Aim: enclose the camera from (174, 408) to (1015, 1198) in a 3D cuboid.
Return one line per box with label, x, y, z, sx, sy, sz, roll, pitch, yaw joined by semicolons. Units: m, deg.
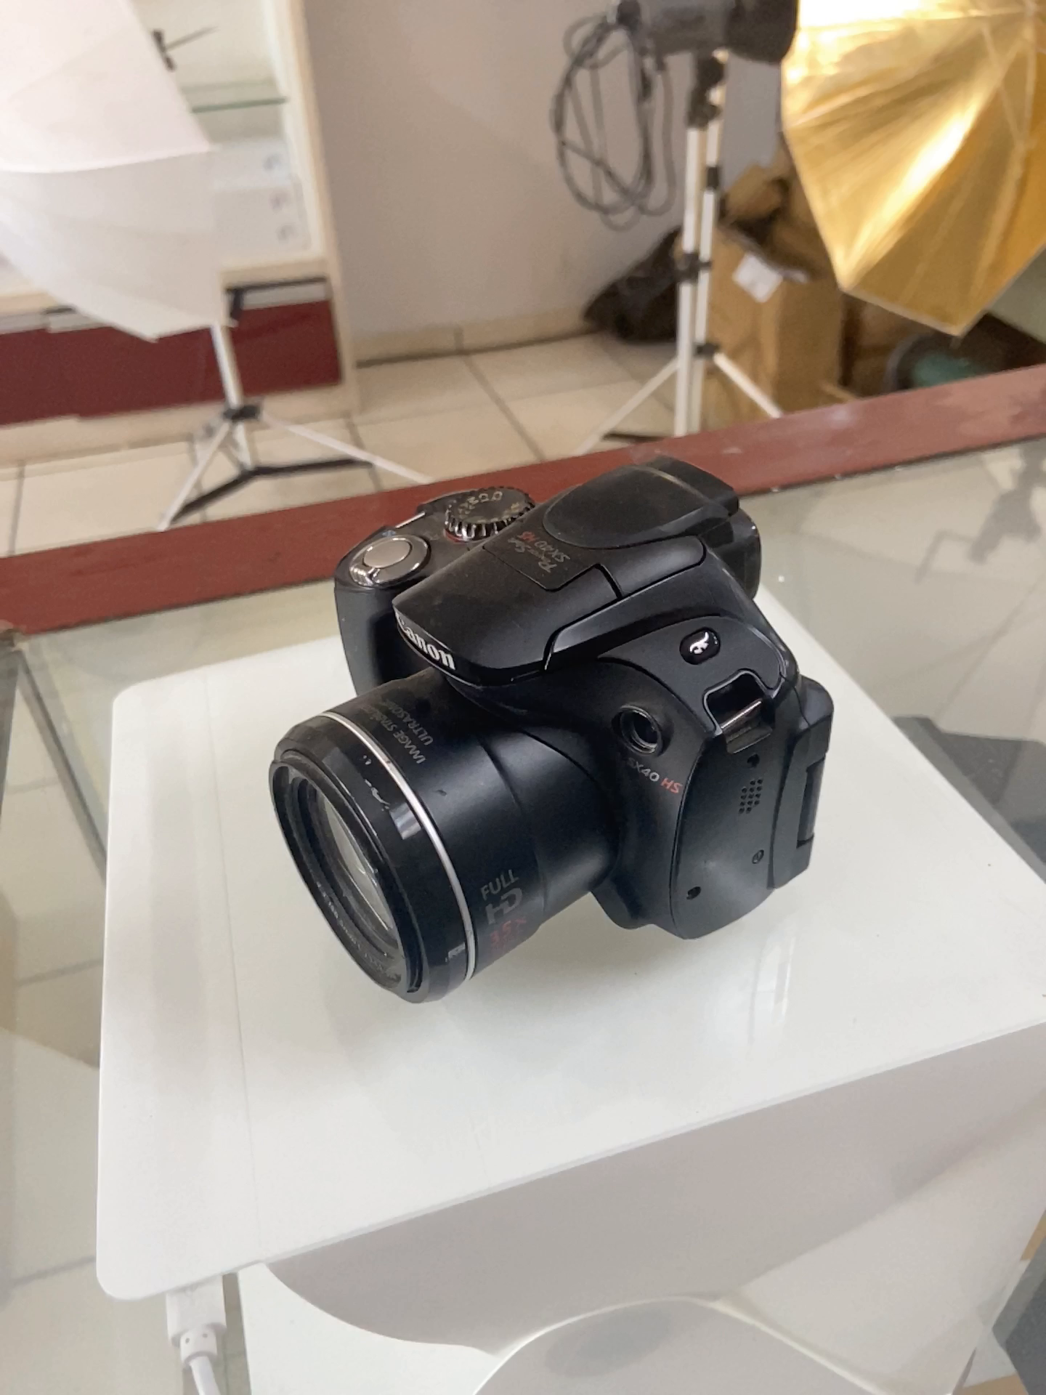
camera;0.017;0.009;0.265;0.140;0.089;0.120;-30;45;-31
